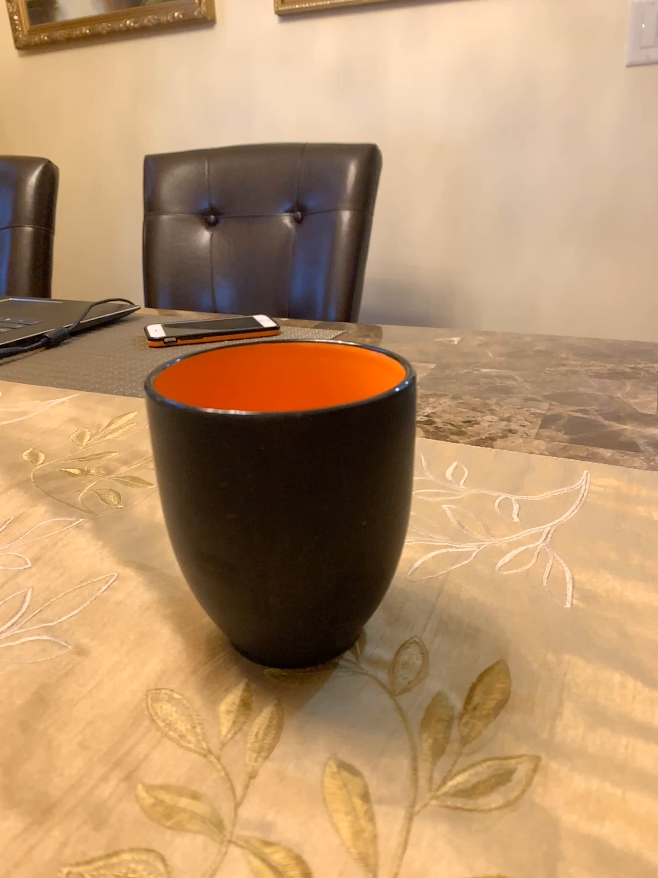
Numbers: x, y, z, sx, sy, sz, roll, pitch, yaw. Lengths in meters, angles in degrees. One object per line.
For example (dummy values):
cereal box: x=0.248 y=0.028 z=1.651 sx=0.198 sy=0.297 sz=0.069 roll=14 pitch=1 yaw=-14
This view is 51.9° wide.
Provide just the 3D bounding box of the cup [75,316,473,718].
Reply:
cup: x=-0.028 y=0.013 z=0.267 sx=0.100 sy=0.087 sz=0.133 roll=-15 pitch=25 yaw=-27
